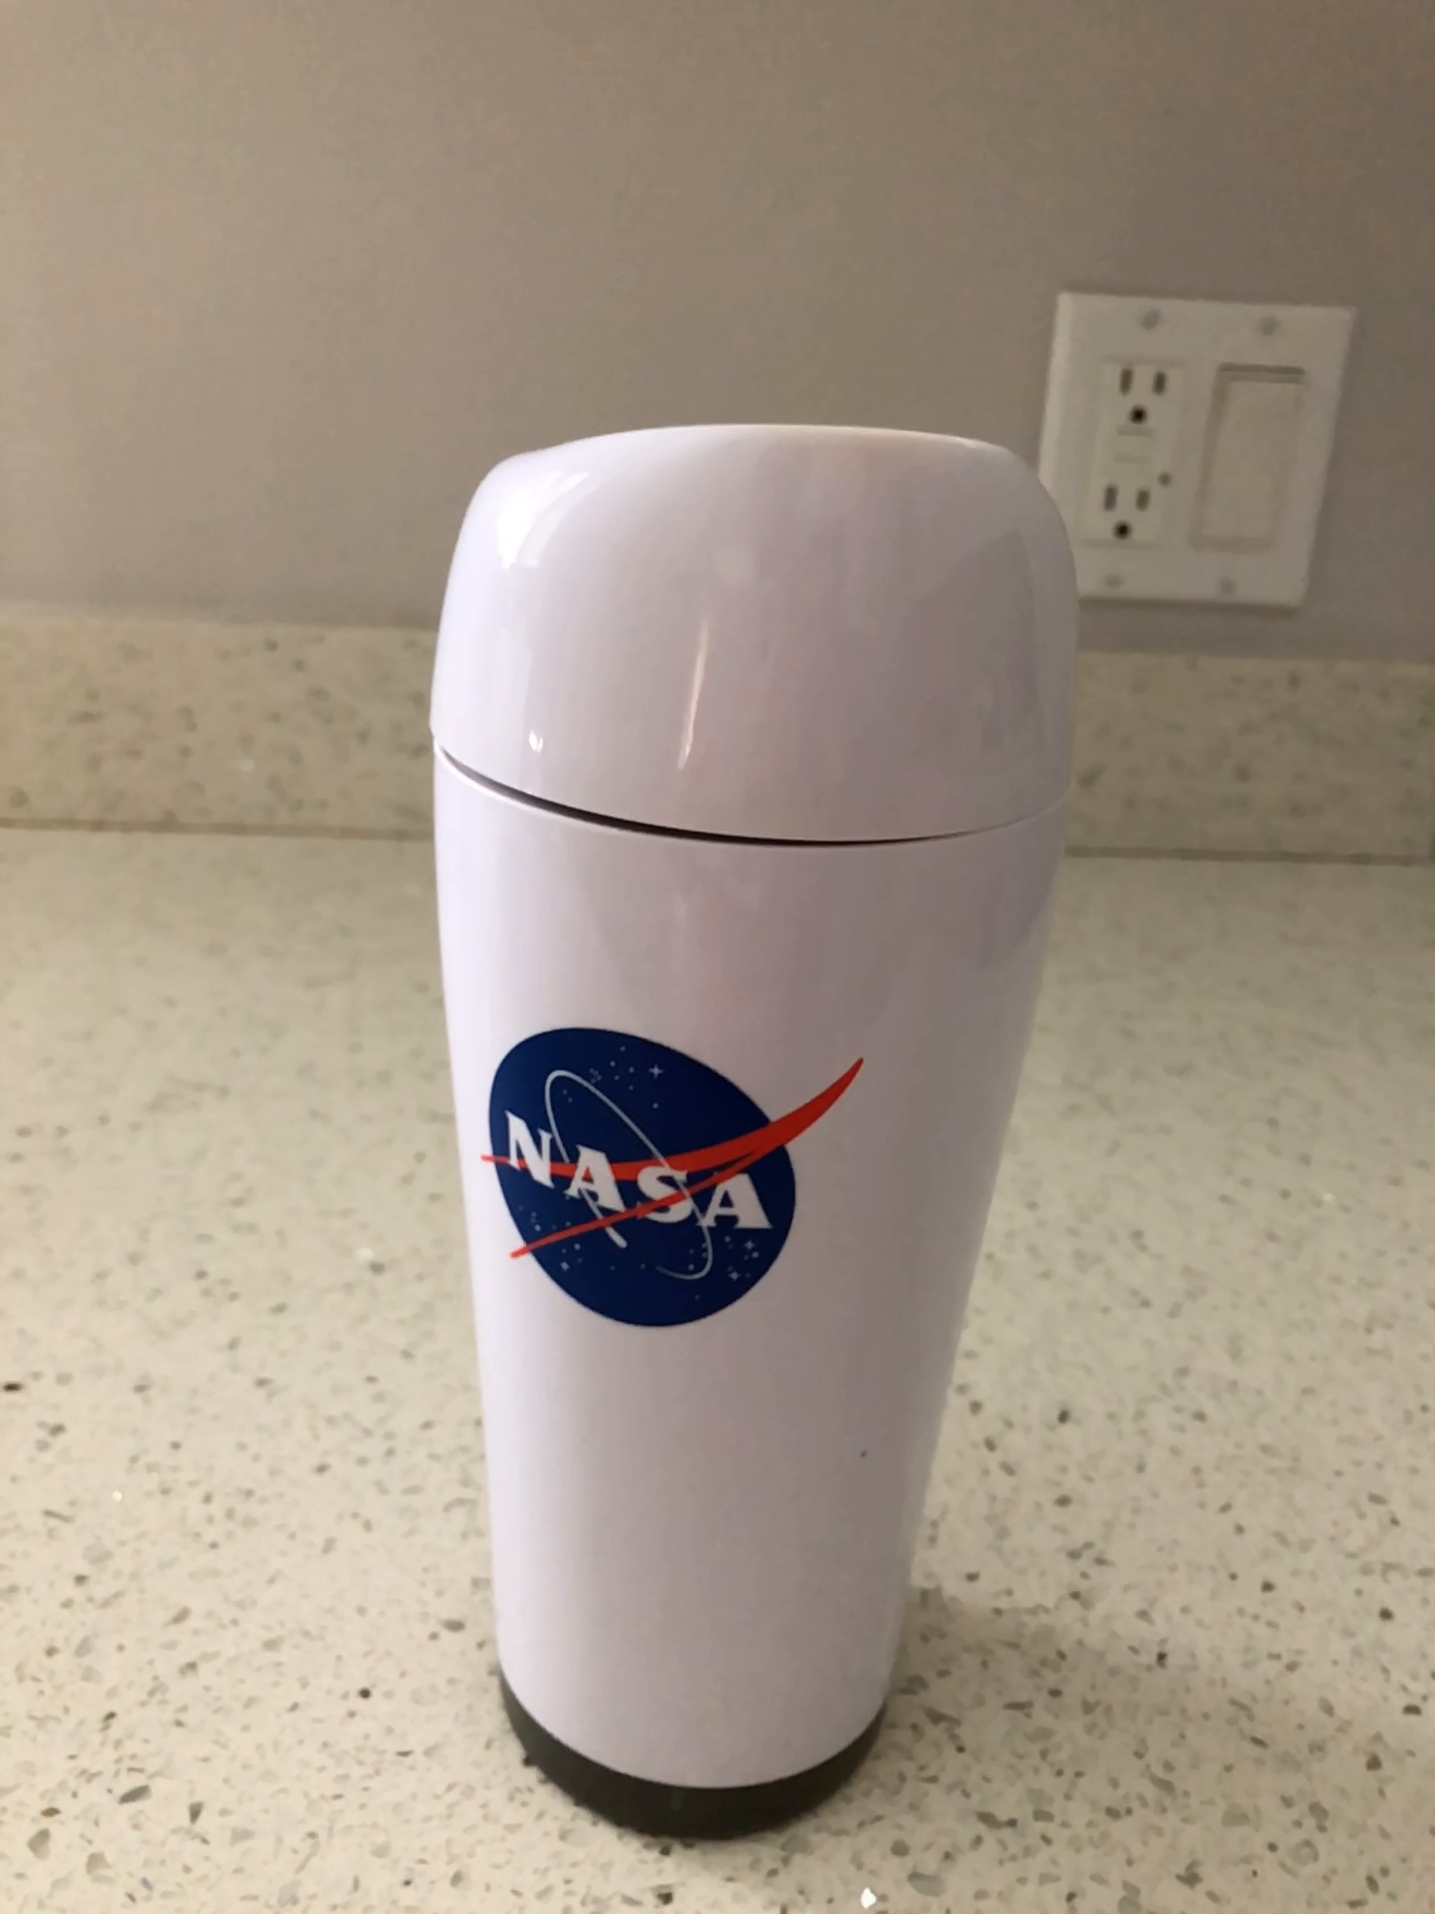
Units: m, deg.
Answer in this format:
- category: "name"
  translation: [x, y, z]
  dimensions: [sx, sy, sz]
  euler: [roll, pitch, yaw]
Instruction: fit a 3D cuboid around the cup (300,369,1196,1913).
- category: "cup"
  translation: [0.005, 0.021, 0.217]
  dimensions: [0.078, 0.182, 0.081]
  euler: [2, 23, -1]
